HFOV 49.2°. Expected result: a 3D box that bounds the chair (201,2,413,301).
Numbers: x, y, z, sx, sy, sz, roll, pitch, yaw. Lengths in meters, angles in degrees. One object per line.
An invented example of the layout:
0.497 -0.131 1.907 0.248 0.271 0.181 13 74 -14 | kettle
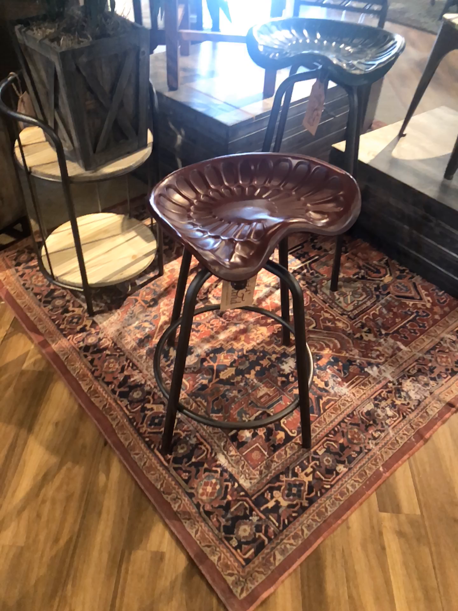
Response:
0.247 -0.538 1.742 0.537 0.736 0.613 11 43 8 | chair

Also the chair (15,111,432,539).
-0.020 0.009 1.213 0.611 0.627 0.568 34 51 28 | chair
